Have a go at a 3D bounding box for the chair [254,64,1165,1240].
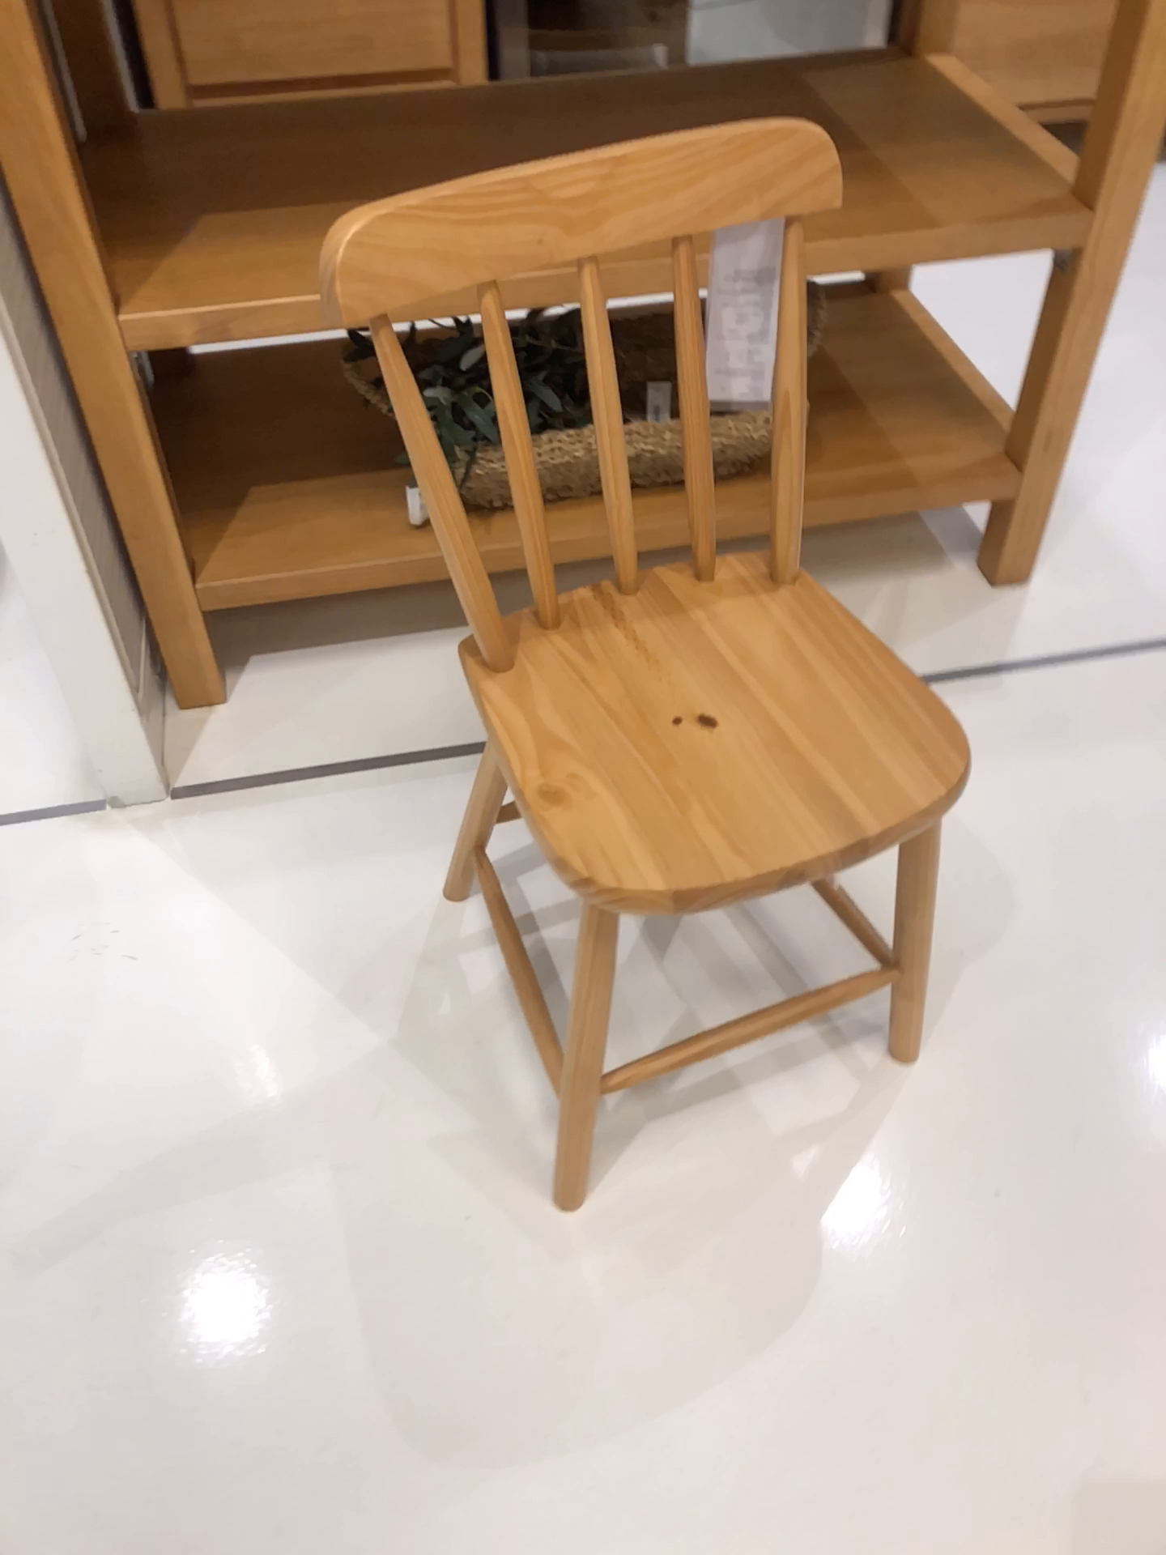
[{"bbox_3d":[0.067,-0.070,1.043,0.421,0.755,0.453,-18,49,-16],"label":"chair"}]
